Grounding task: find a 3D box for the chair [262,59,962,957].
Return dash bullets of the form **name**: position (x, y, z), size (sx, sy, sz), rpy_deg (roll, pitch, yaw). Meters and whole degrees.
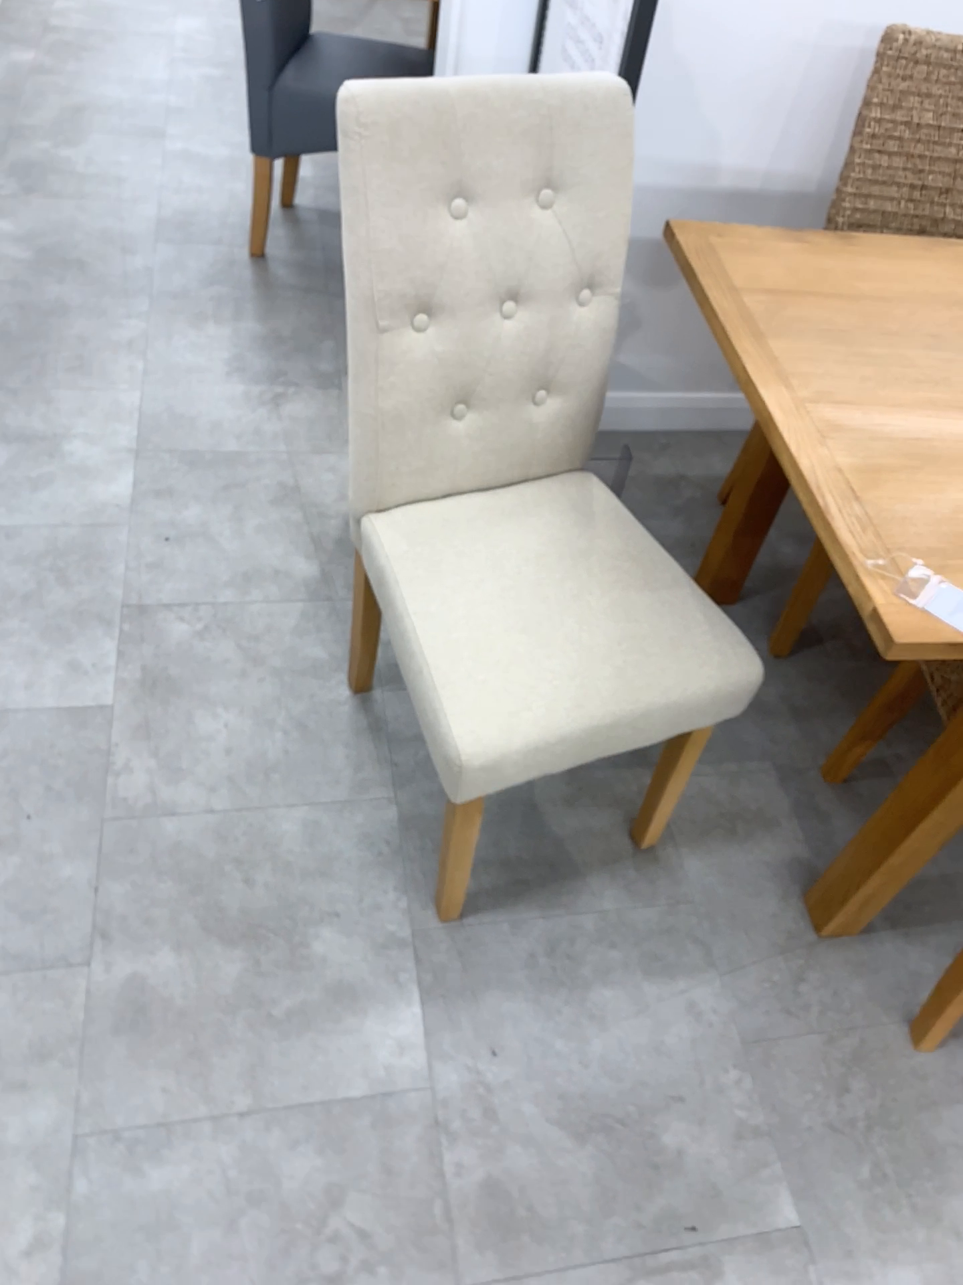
- **chair**: position (0.051, -0.141, 1.278), size (0.480, 0.897, 0.614), rpy_deg (-13, 52, -20)
